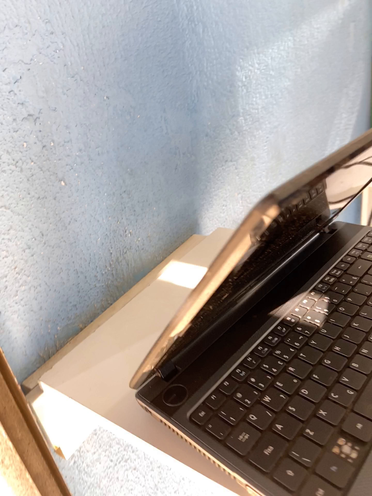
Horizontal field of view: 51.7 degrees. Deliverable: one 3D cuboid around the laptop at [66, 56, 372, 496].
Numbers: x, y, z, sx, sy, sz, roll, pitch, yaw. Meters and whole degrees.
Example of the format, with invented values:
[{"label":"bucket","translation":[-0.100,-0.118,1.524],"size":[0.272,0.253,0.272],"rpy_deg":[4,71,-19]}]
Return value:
[{"label":"laptop","translation":[0.158,-0.015,0.315],"size":[0.248,0.191,0.377],"rpy_deg":[16,36,42]}]
